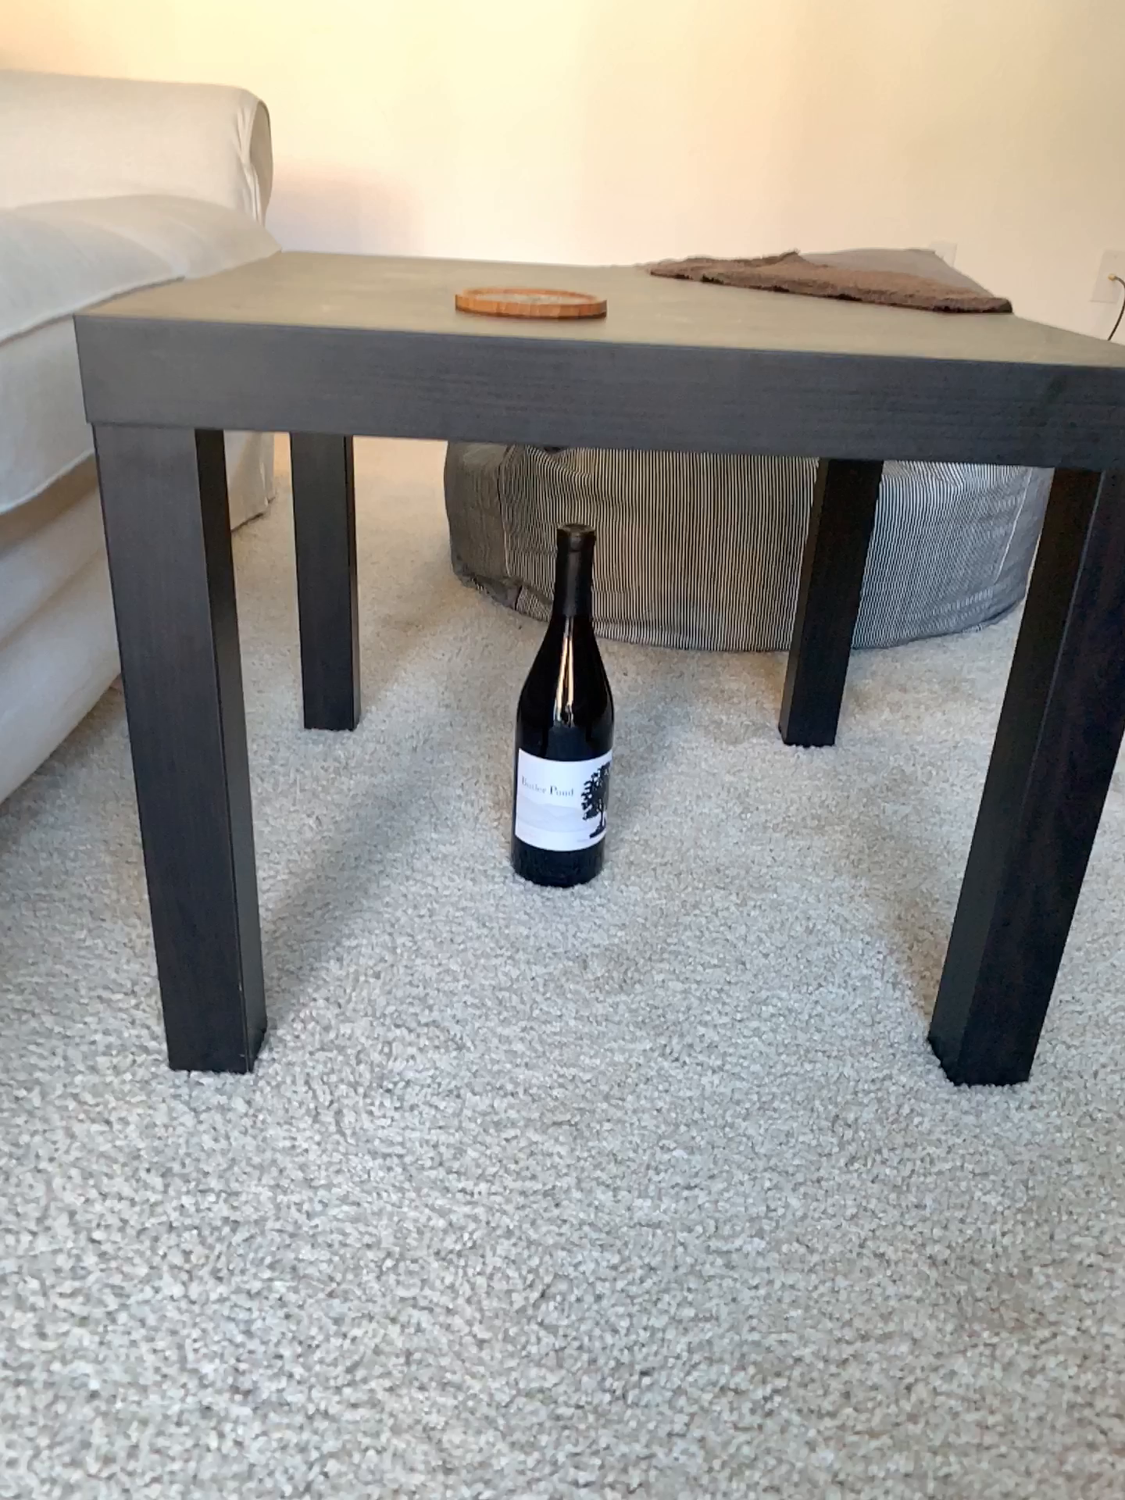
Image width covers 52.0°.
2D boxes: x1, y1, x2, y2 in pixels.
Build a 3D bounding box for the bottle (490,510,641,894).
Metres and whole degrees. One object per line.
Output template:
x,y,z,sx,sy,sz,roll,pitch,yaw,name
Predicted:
-0.004,-0.034,0.910,0.090,0.288,0.091,3,26,-1,bottle
